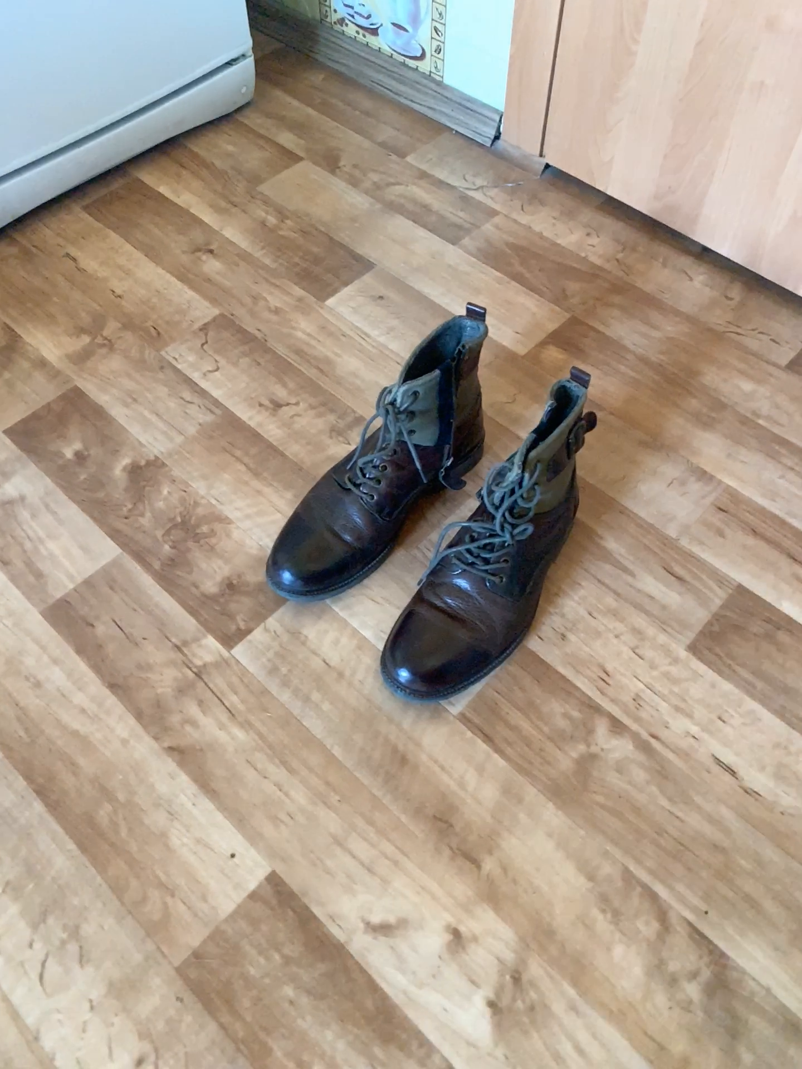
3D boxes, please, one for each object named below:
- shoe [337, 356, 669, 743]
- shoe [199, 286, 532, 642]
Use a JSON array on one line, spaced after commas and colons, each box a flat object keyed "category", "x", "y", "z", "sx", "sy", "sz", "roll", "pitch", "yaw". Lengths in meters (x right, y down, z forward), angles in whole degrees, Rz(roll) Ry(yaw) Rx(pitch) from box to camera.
[{"category": "shoe", "x": 0.093, "y": 0.008, "z": 0.726, "sx": 0.110, "sy": 0.150, "sz": 0.310, "roll": 34, "pitch": 63, "yaw": 20}, {"category": "shoe", "x": -0.021, "y": -0.071, "z": 0.773, "sx": 0.110, "sy": 0.150, "sz": 0.310, "roll": 35, "pitch": 64, "yaw": 21}]
